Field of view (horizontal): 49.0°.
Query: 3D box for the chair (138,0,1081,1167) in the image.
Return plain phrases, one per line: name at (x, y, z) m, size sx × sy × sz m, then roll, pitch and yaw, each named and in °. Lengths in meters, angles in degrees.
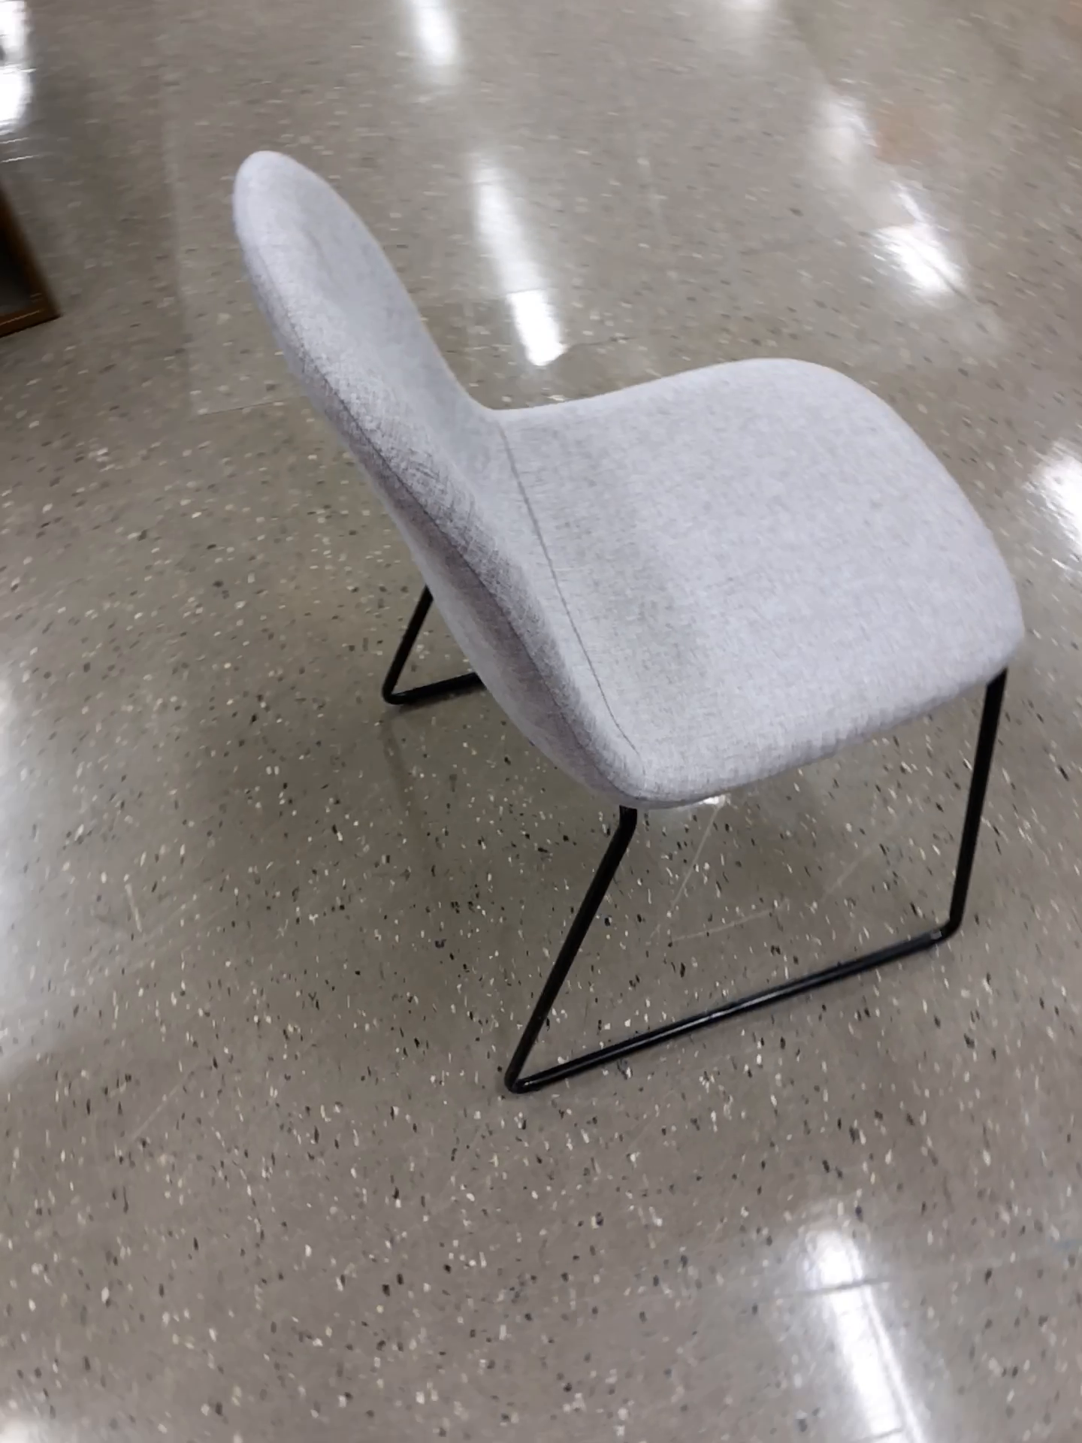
chair at (0.112, -0.100, 0.992) m, size 0.580 × 0.778 × 0.591 m, roll -15°, pitch 58°, yaw -7°
